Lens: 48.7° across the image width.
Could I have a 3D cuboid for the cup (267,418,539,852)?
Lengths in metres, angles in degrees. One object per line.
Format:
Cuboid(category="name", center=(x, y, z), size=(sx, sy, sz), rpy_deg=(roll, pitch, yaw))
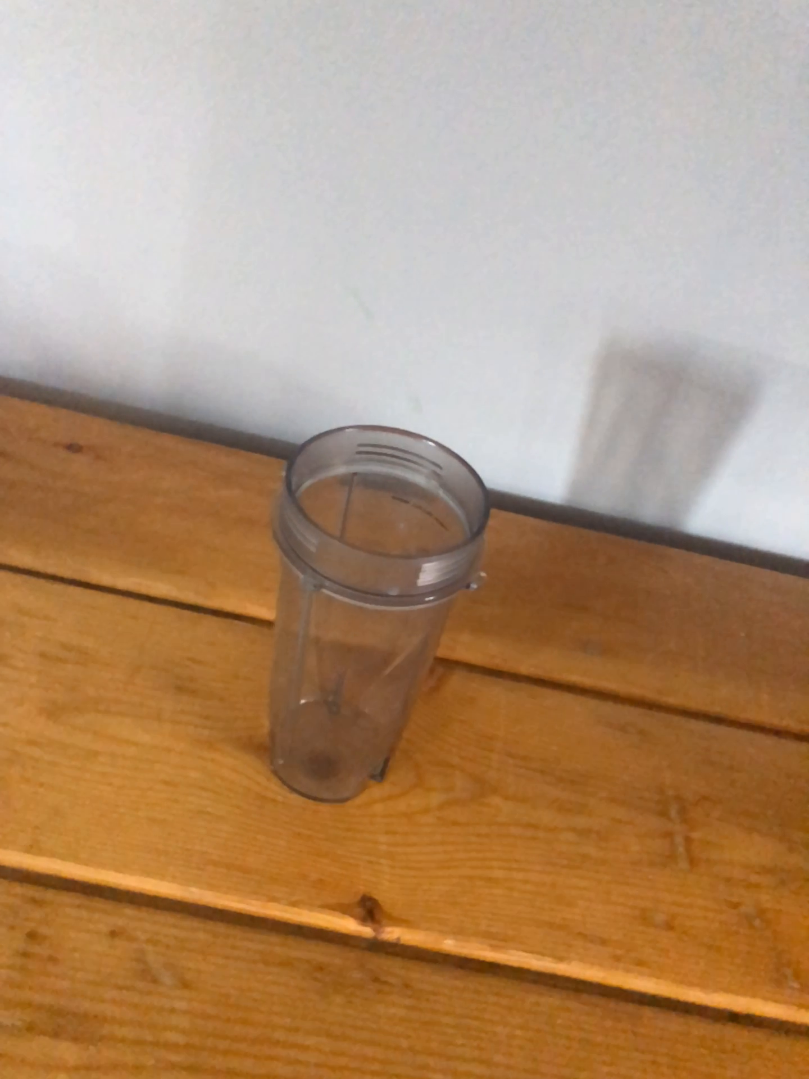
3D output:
Cuboid(category="cup", center=(-0.012, 0.053, 0.405), size=(0.080, 0.189, 0.090), rpy_deg=(6, 44, -9))
